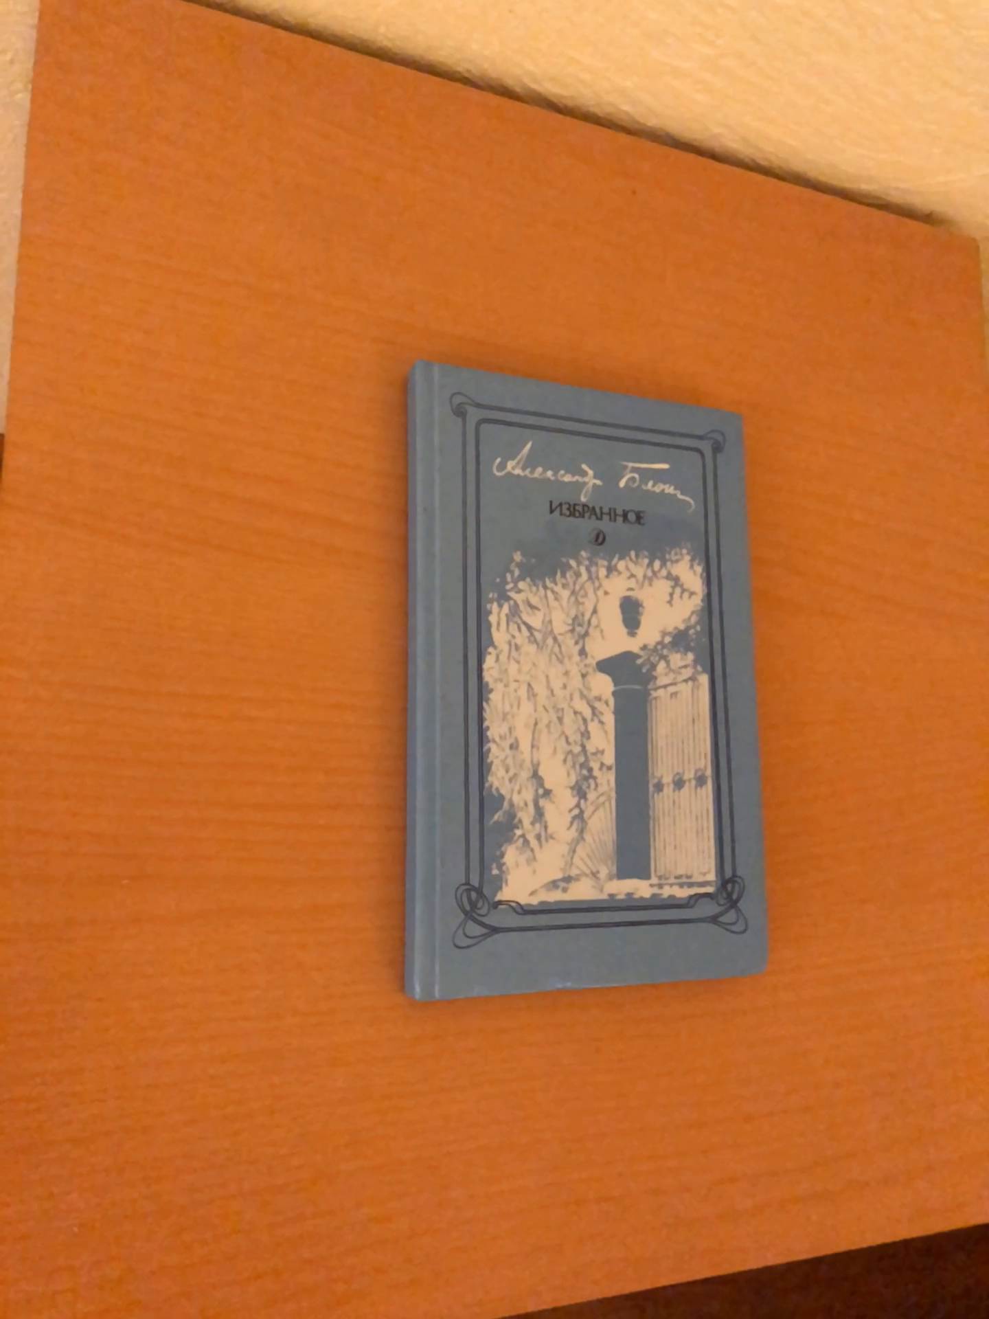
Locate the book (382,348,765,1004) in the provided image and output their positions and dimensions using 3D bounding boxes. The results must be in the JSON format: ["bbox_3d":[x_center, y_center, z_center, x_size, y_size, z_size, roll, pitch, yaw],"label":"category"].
[{"bbox_3d":[0.028,0.005,0.382,0.135,0.020,0.210,3,81,-24],"label":"book"}]
